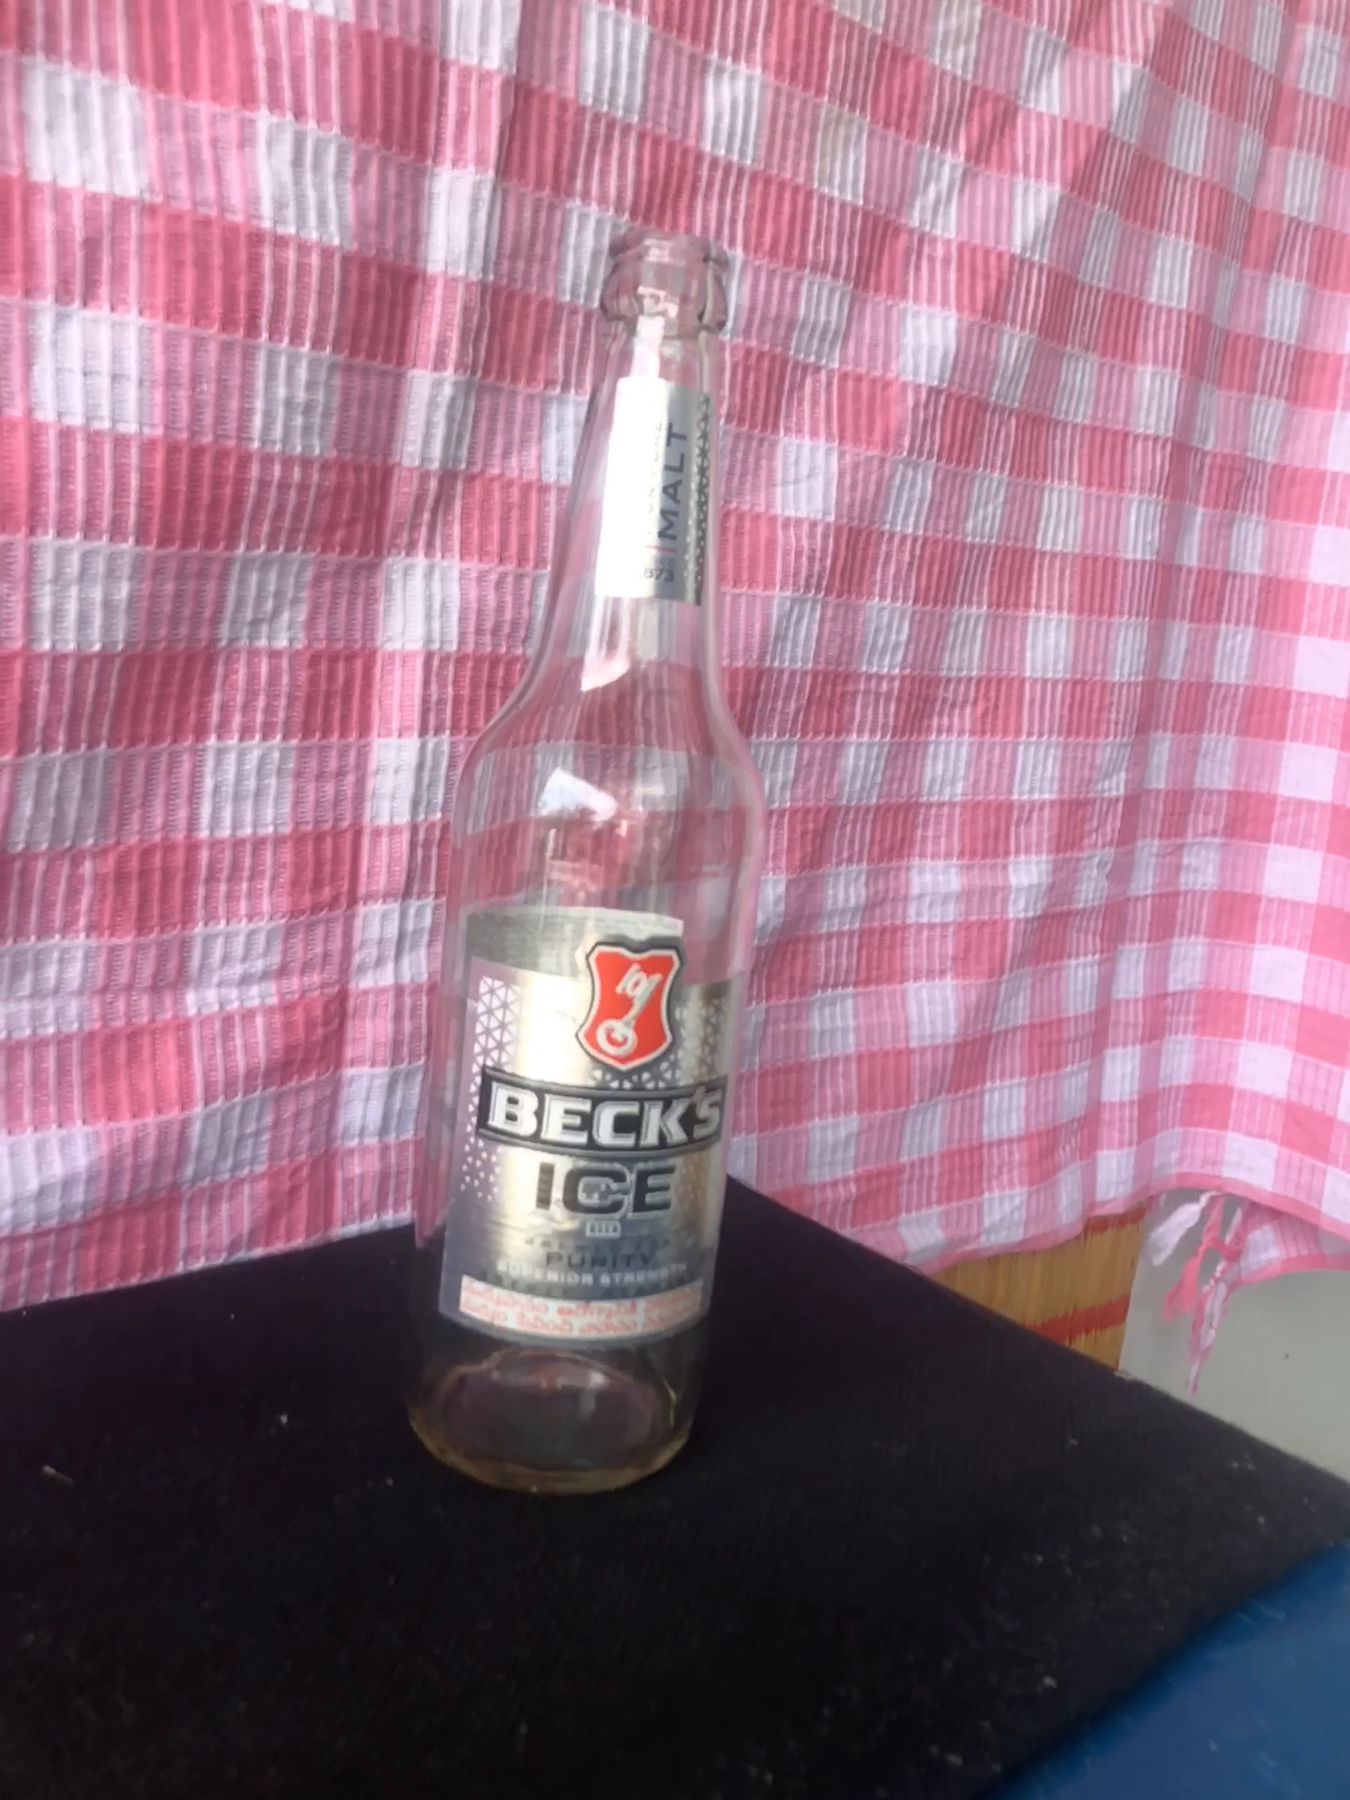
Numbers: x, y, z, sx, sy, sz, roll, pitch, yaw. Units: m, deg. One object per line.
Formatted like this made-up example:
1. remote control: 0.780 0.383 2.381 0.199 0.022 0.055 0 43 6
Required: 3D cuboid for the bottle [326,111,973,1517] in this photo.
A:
1. bottle: -0.014 -0.010 0.330 0.090 0.269 0.080 7 11 -10
